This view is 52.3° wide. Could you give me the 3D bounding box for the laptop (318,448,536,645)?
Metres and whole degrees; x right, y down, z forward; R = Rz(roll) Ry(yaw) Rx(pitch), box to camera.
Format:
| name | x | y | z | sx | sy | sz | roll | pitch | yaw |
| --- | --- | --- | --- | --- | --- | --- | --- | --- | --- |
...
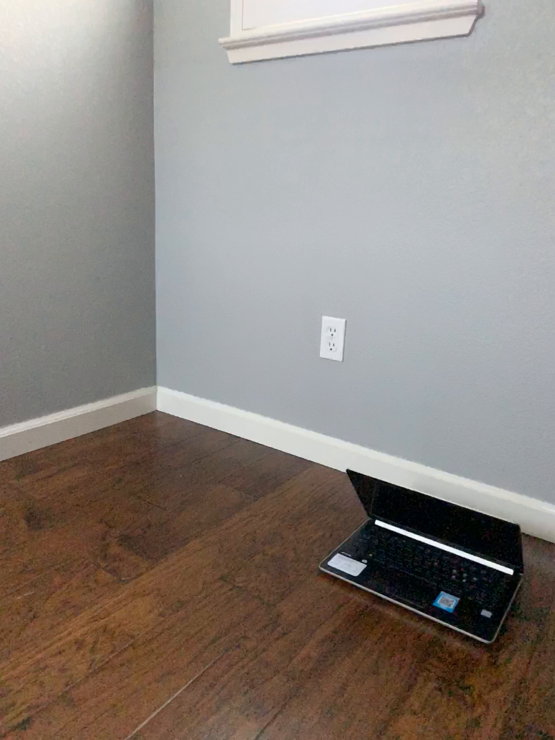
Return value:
| name | x | y | z | sx | sy | sz | roll | pitch | yaw |
| --- | --- | --- | --- | --- | --- | --- | --- | --- | --- |
| laptop | 0.271 | 0.297 | 1.036 | 0.317 | 0.169 | 0.220 | 13 | 18 | 32 |
